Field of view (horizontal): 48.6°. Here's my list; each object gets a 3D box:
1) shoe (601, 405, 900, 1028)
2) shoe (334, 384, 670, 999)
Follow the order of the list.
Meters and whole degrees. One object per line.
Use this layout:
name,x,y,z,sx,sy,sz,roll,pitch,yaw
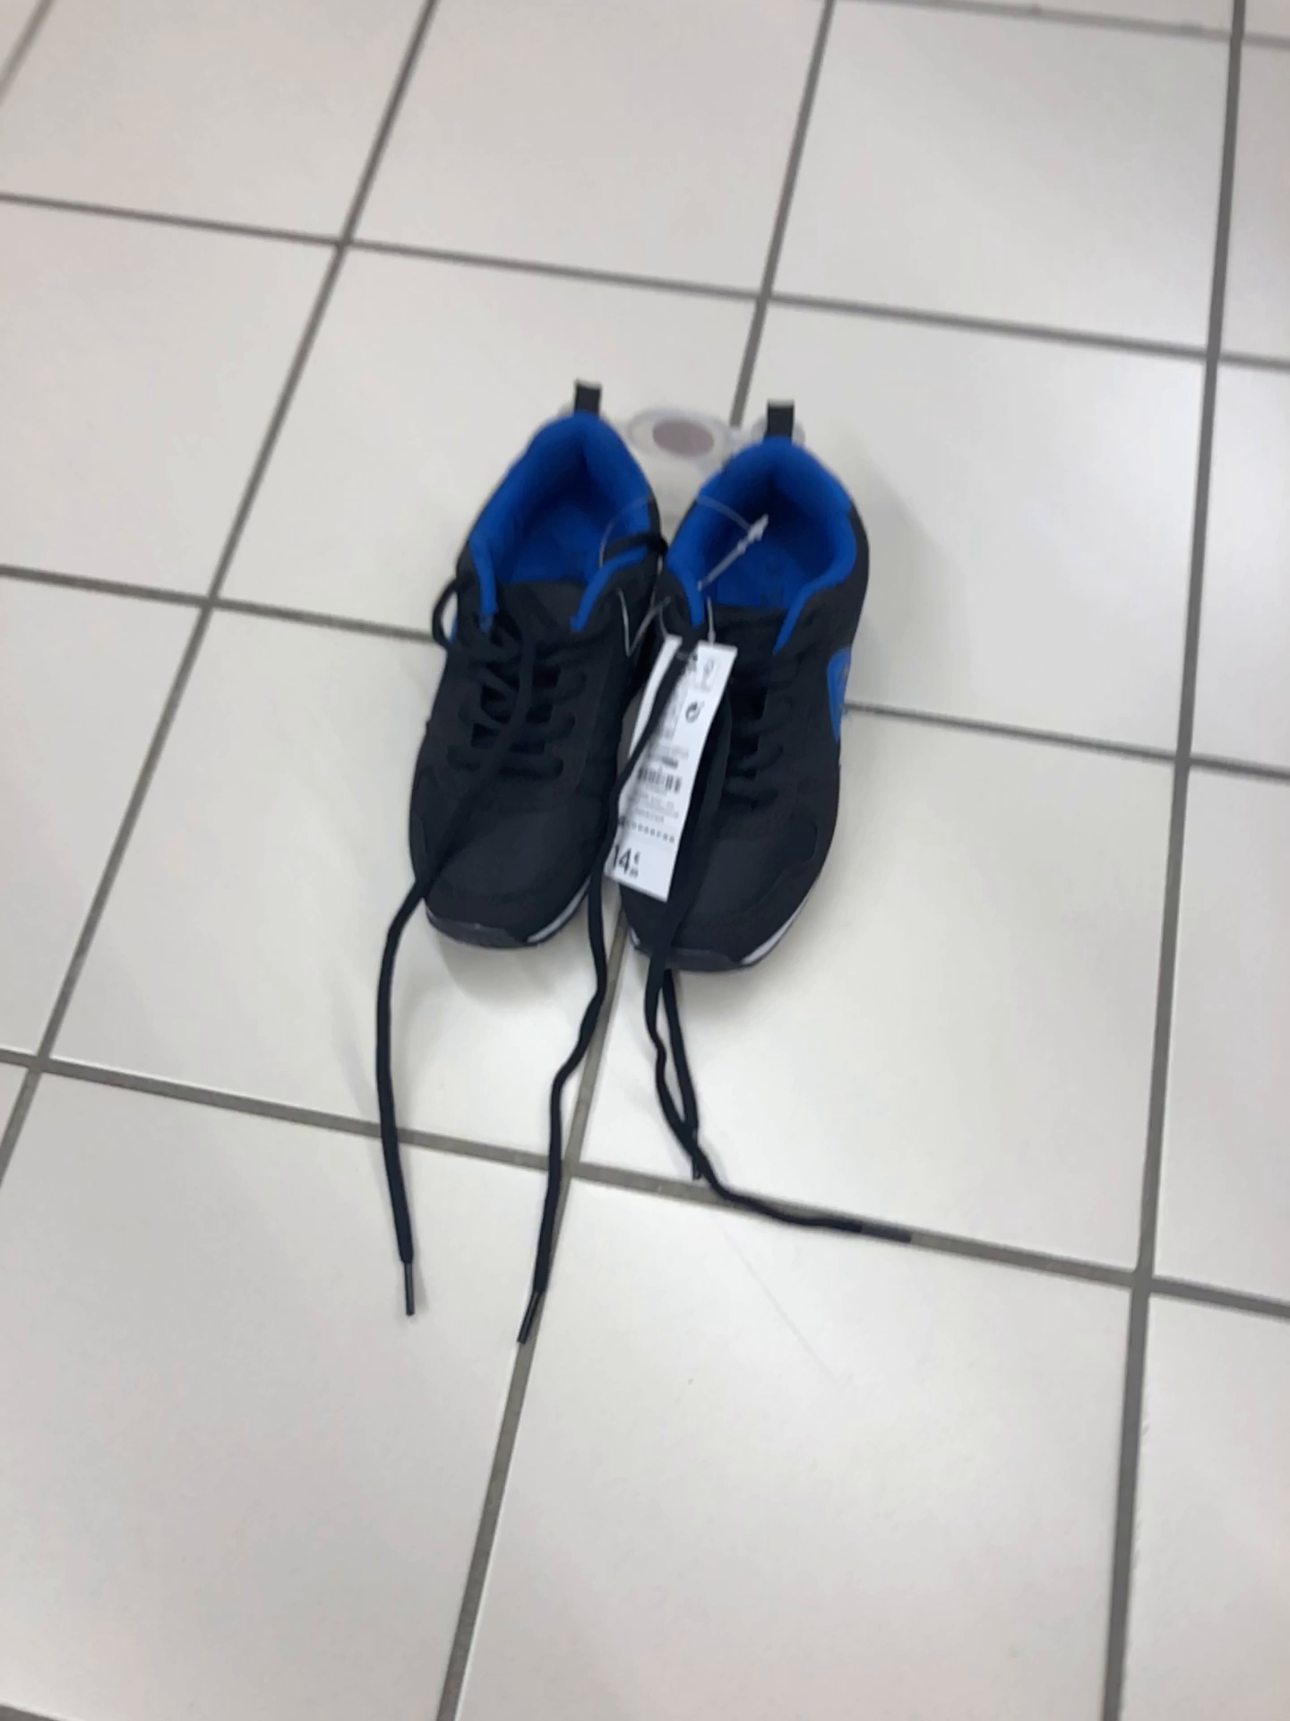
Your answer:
shoe,0.041,-0.054,0.528,0.075,0.082,0.208,8,68,5
shoe,-0.045,-0.064,0.534,0.075,0.082,0.208,8,68,5
